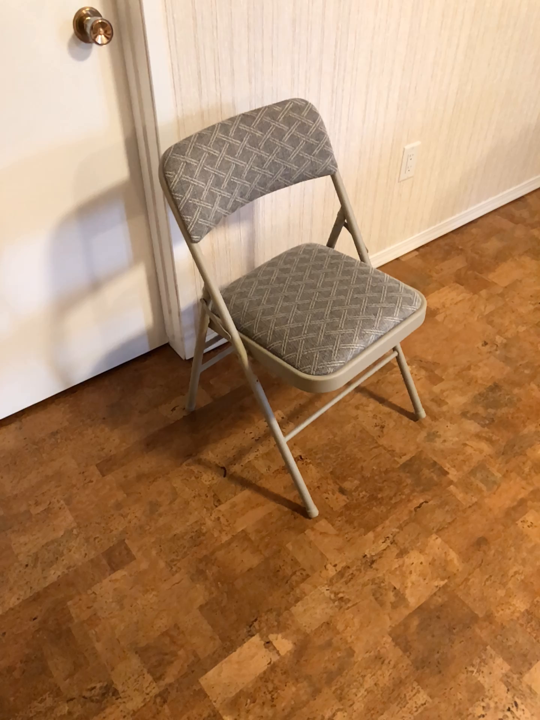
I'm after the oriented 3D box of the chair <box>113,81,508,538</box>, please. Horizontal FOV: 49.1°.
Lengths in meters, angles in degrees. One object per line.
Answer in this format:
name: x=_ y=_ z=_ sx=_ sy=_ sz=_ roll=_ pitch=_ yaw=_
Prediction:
chair: x=0.068 y=-0.121 z=1.376 sx=0.491 sy=0.758 sz=0.561 roll=-34 pitch=54 yaw=-31
